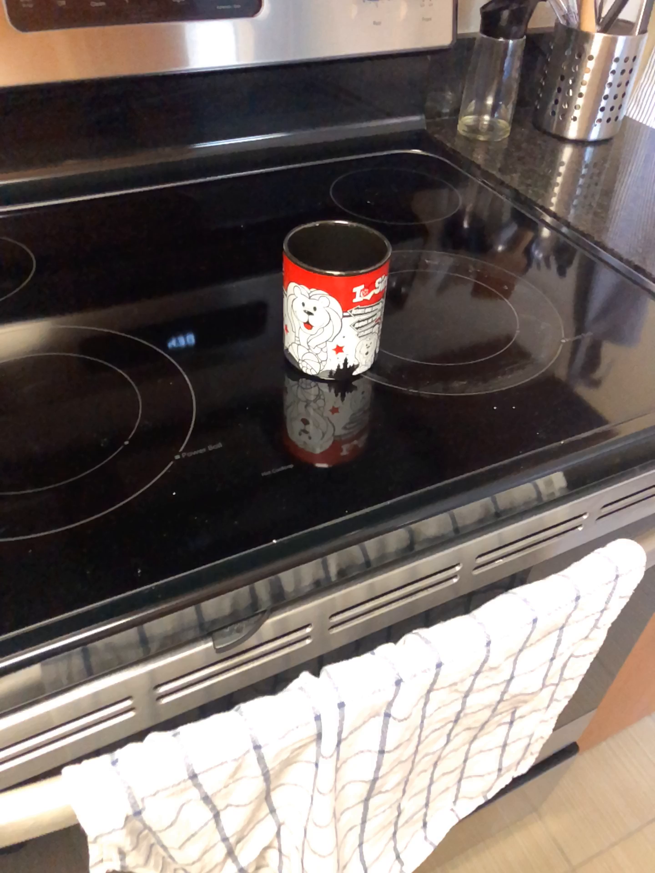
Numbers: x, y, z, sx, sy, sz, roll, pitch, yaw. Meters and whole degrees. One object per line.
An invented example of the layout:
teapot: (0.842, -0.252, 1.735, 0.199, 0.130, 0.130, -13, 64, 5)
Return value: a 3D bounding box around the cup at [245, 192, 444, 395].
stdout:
cup: (0.013, -0.117, 0.570, 0.090, 0.090, 0.130, 28, 47, 25)
